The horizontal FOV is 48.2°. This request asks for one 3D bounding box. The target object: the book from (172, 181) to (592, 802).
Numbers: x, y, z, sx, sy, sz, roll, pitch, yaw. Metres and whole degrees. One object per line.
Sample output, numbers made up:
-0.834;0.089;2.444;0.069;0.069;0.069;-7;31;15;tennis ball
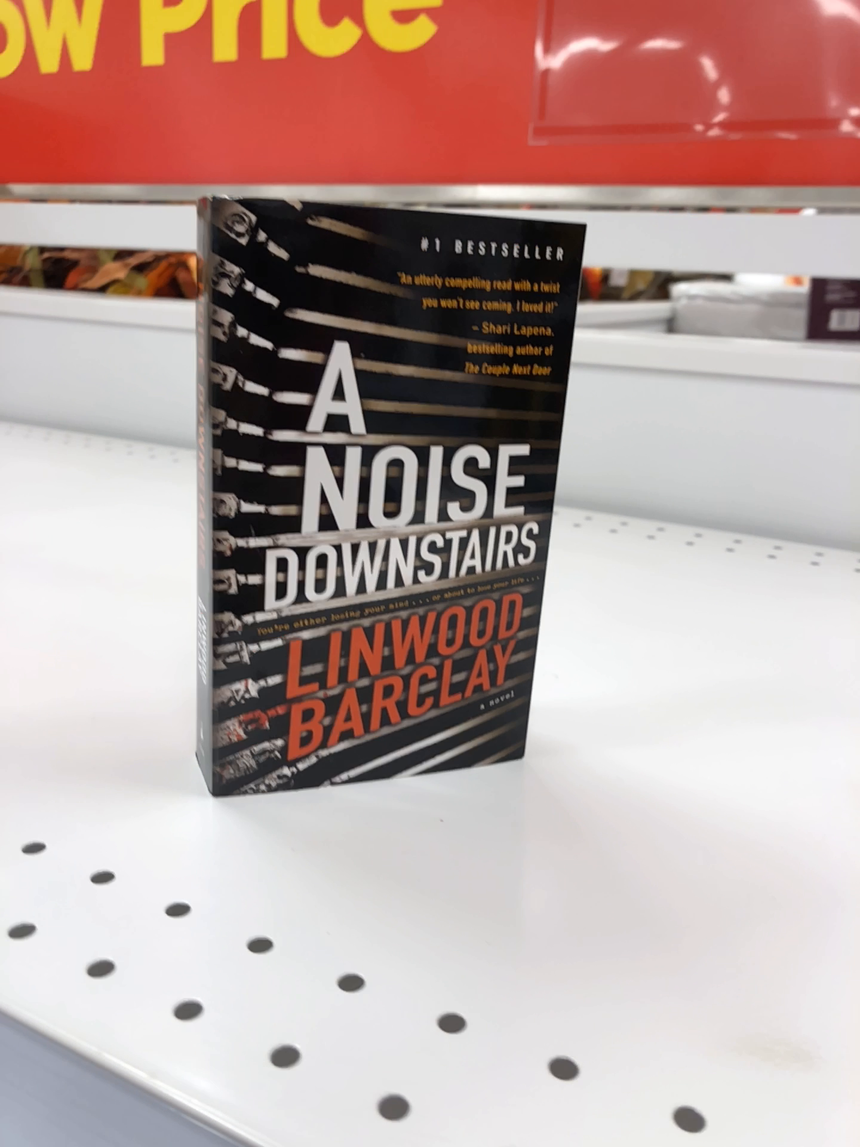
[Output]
-0.018;-0.023;0.292;0.110;0.170;0.041;-3;19;-17;book
